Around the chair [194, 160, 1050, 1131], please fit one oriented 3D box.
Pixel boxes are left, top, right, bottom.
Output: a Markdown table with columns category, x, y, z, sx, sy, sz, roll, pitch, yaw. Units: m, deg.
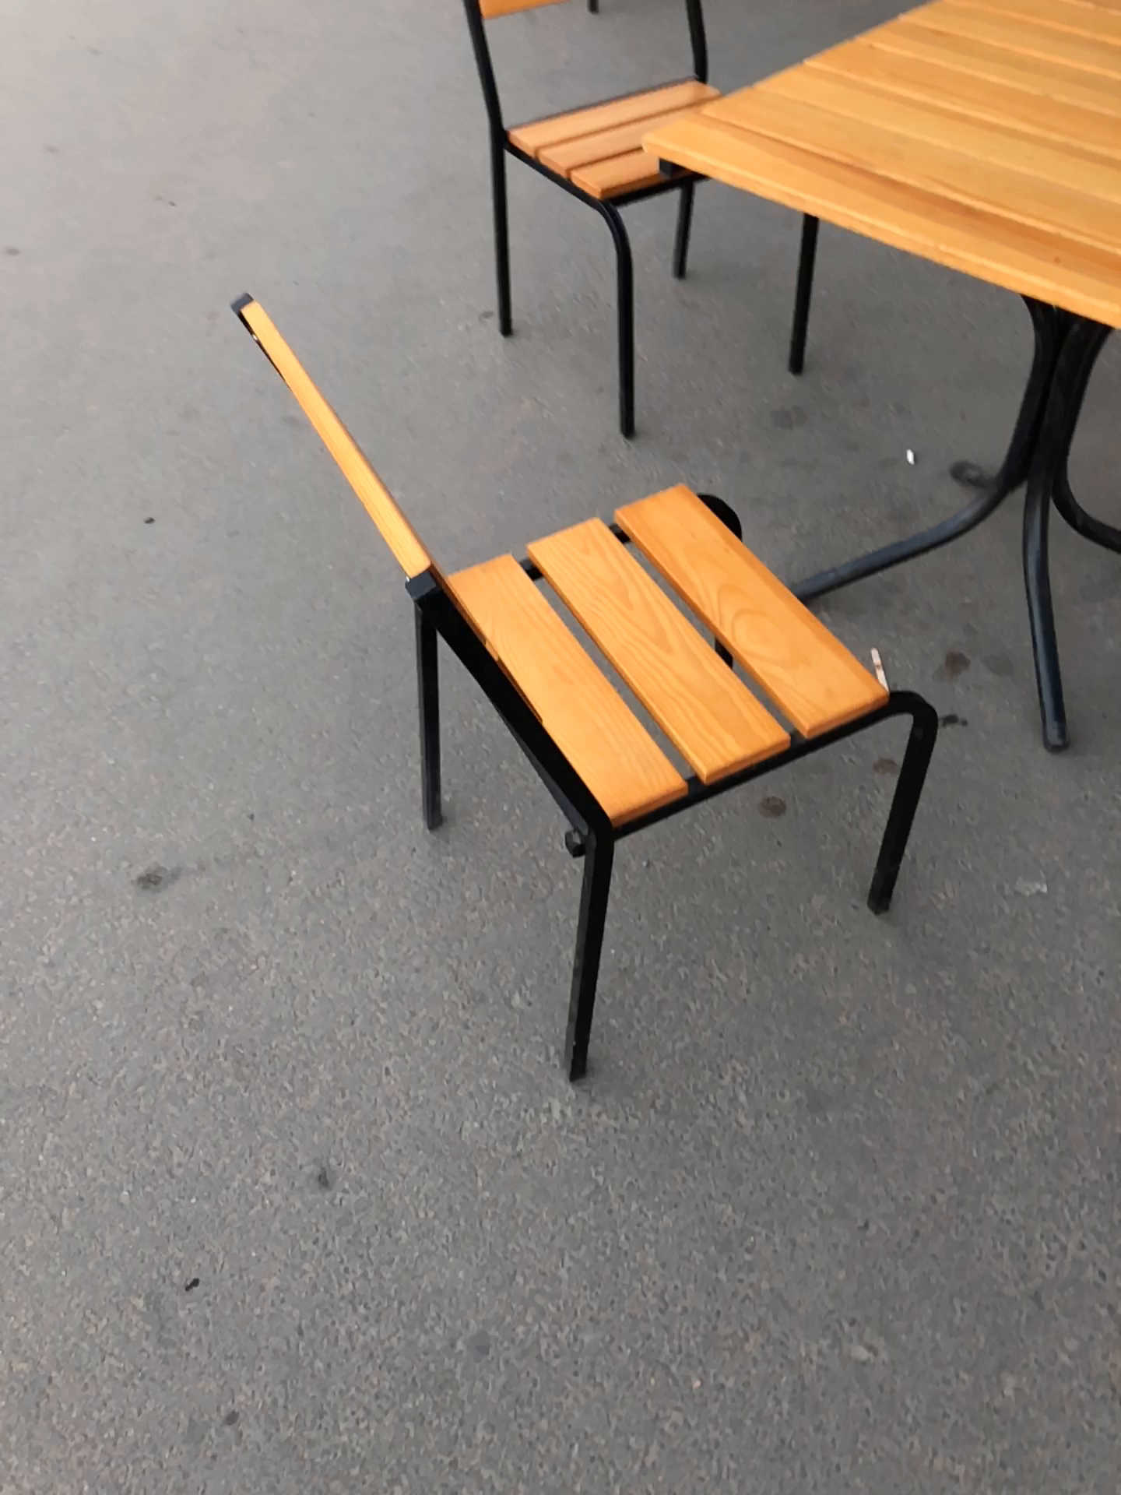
| category | x | y | z | sx | sy | sz | roll | pitch | yaw |
| --- | --- | --- | --- | --- | --- | --- | --- | --- | --- |
| chair | 0.046 | -0.090 | 1.333 | 0.560 | 0.767 | 0.501 | -22 | 50 | -15 |
